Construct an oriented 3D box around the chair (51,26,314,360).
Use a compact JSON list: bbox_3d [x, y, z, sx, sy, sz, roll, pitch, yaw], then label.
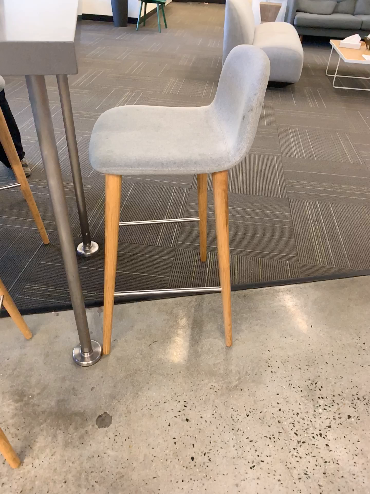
[{"bbox_3d":[-0.055,-0.168,1.296,0.550,0.924,0.594,-3,39,-8],"label":"chair"}]
